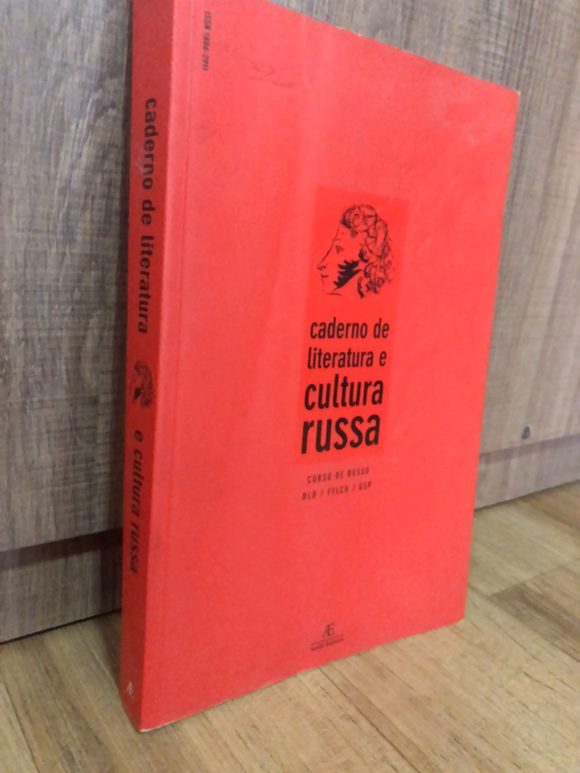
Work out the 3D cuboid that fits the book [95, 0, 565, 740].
[{"bbox_3d":[0.021,-0.012,0.266,0.187,0.249,0.040,-3,12,-34],"label":"book"}]
